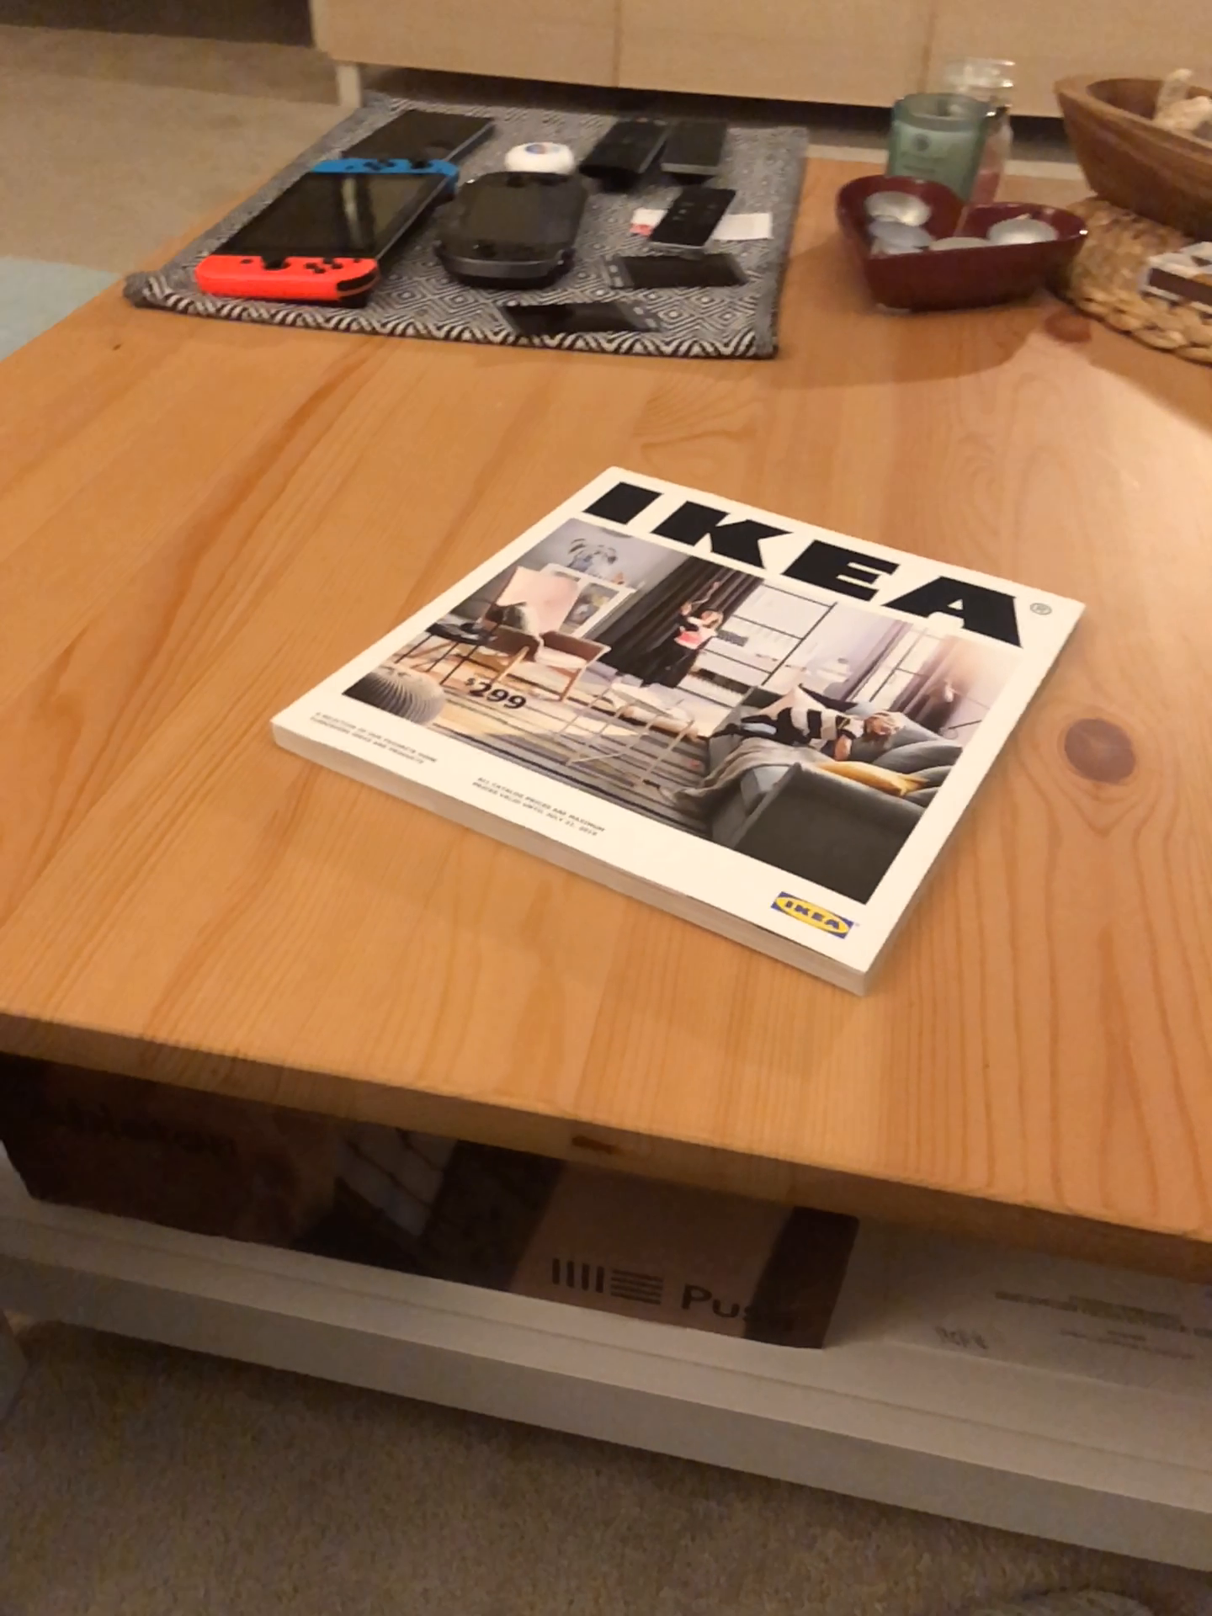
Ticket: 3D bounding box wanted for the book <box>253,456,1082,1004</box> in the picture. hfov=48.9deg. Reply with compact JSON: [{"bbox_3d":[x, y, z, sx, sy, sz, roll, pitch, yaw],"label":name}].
[{"bbox_3d":[0.031,-0.049,0.467,0.211,0.015,0.217,22,44,22],"label":"book"}]
